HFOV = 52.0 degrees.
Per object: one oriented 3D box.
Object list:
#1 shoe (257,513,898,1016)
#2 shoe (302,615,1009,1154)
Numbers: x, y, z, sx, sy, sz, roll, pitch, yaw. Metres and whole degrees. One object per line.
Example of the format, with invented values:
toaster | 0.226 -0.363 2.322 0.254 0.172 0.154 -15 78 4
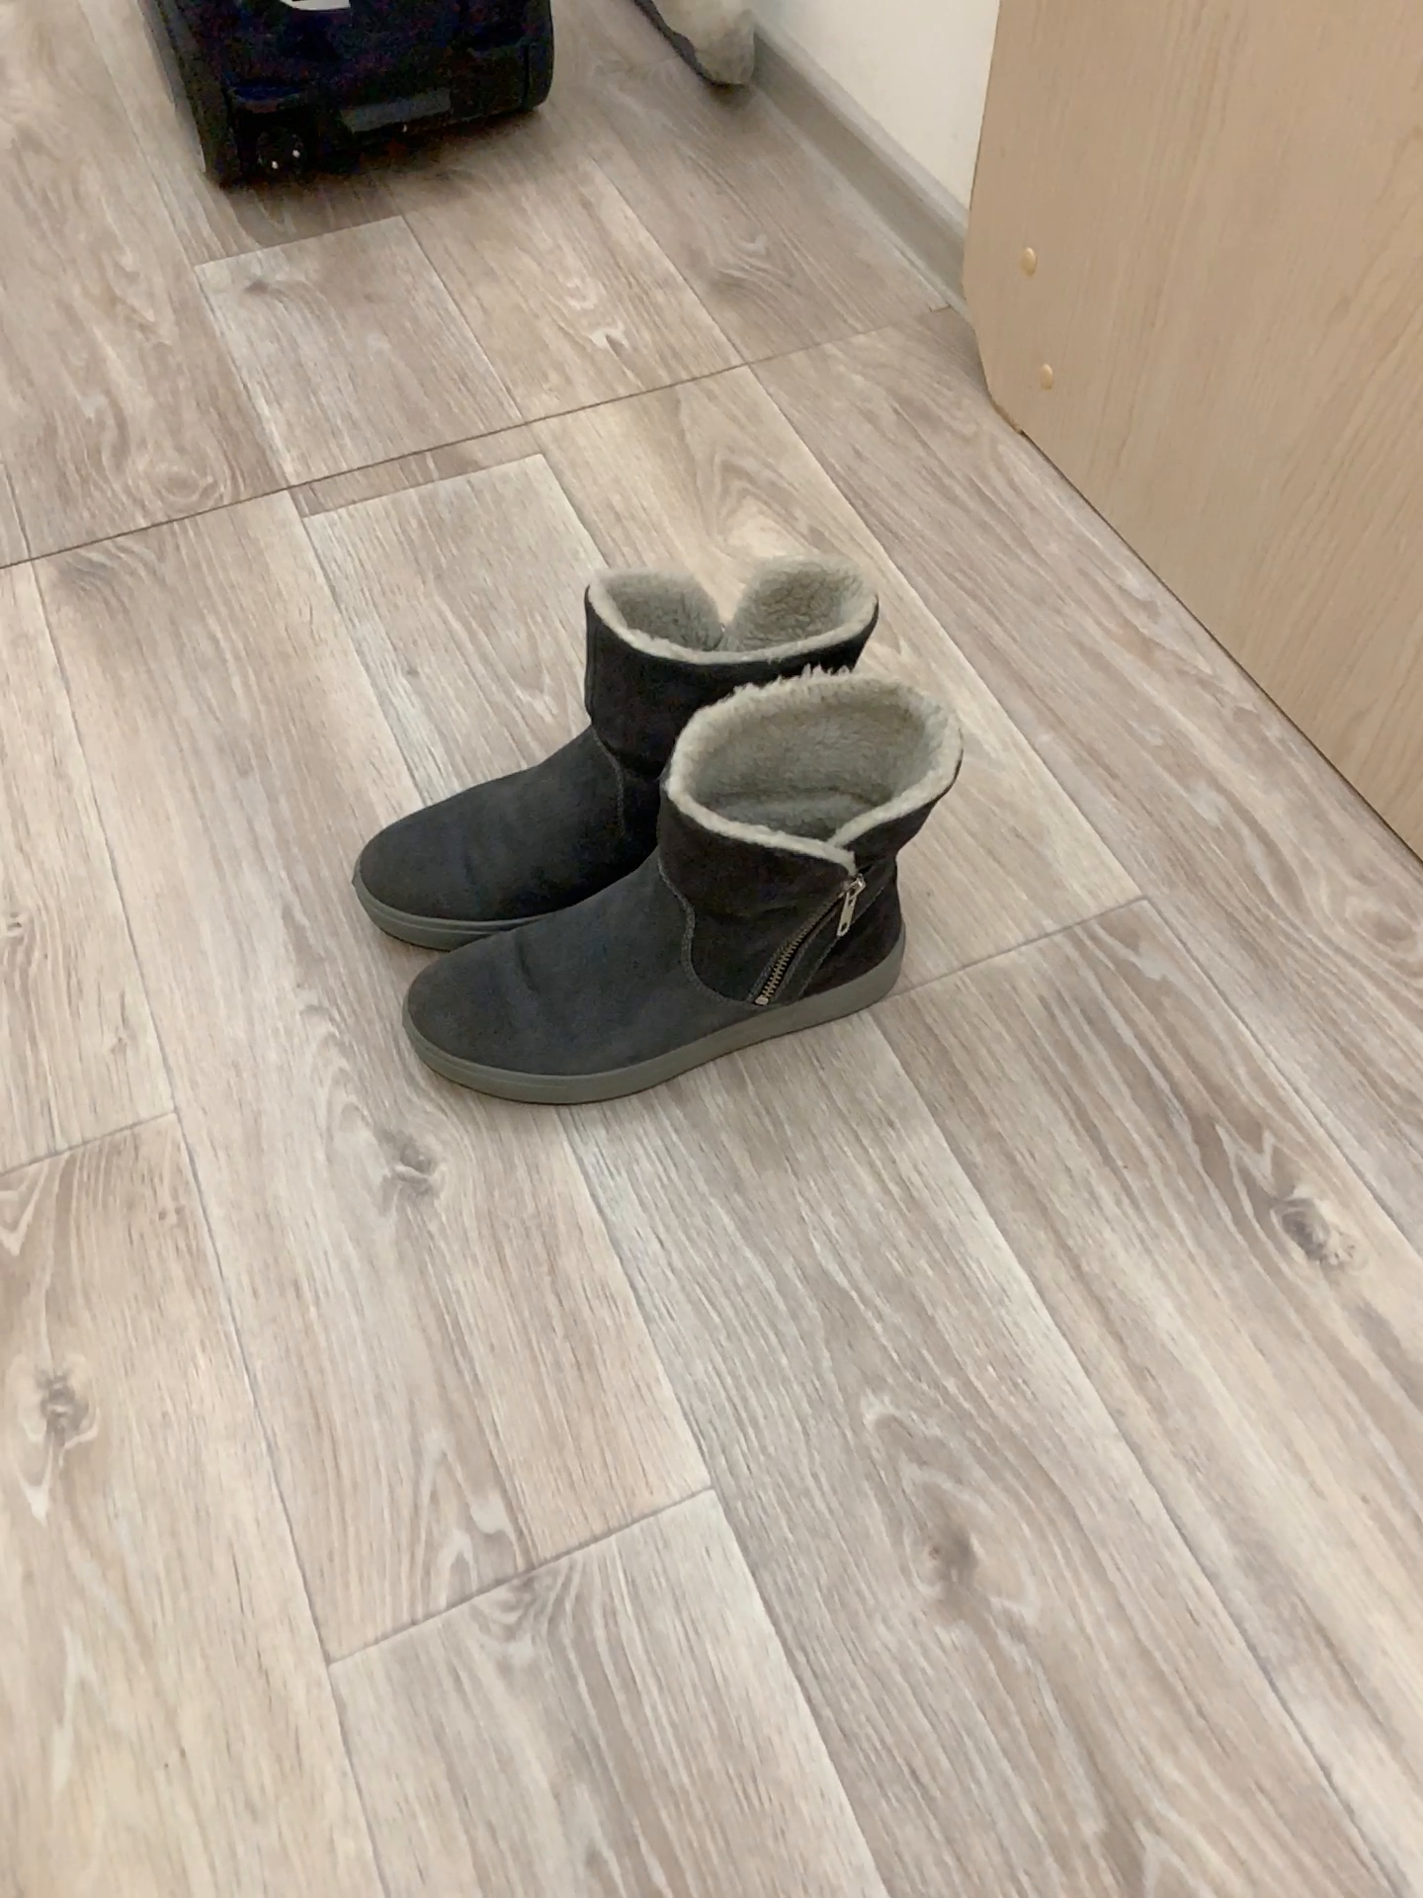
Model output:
shoe | -0.061 -0.087 0.725 0.270 0.179 0.100 -14 57 -9
shoe | -0.023 -0.025 0.663 0.270 0.169 0.100 -15 57 -10
